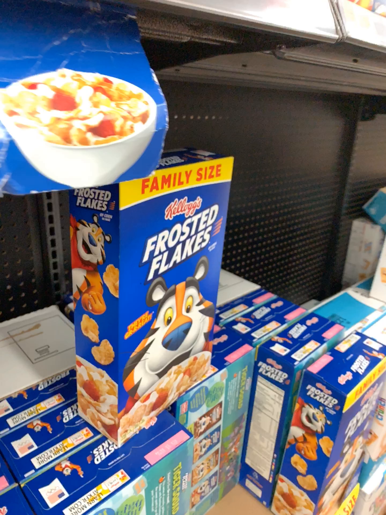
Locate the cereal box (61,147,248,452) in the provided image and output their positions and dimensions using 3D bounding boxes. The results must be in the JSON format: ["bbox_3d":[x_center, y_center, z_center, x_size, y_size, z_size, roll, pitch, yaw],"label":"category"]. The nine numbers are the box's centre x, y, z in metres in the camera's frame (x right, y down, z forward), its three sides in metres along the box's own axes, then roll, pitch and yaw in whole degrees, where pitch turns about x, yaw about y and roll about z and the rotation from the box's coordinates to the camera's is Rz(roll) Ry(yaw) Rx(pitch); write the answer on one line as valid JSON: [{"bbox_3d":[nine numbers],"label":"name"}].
[{"bbox_3d":[-0.042,0.038,0.500,0.080,0.318,0.211,22,28,34],"label":"cereal box"}]
